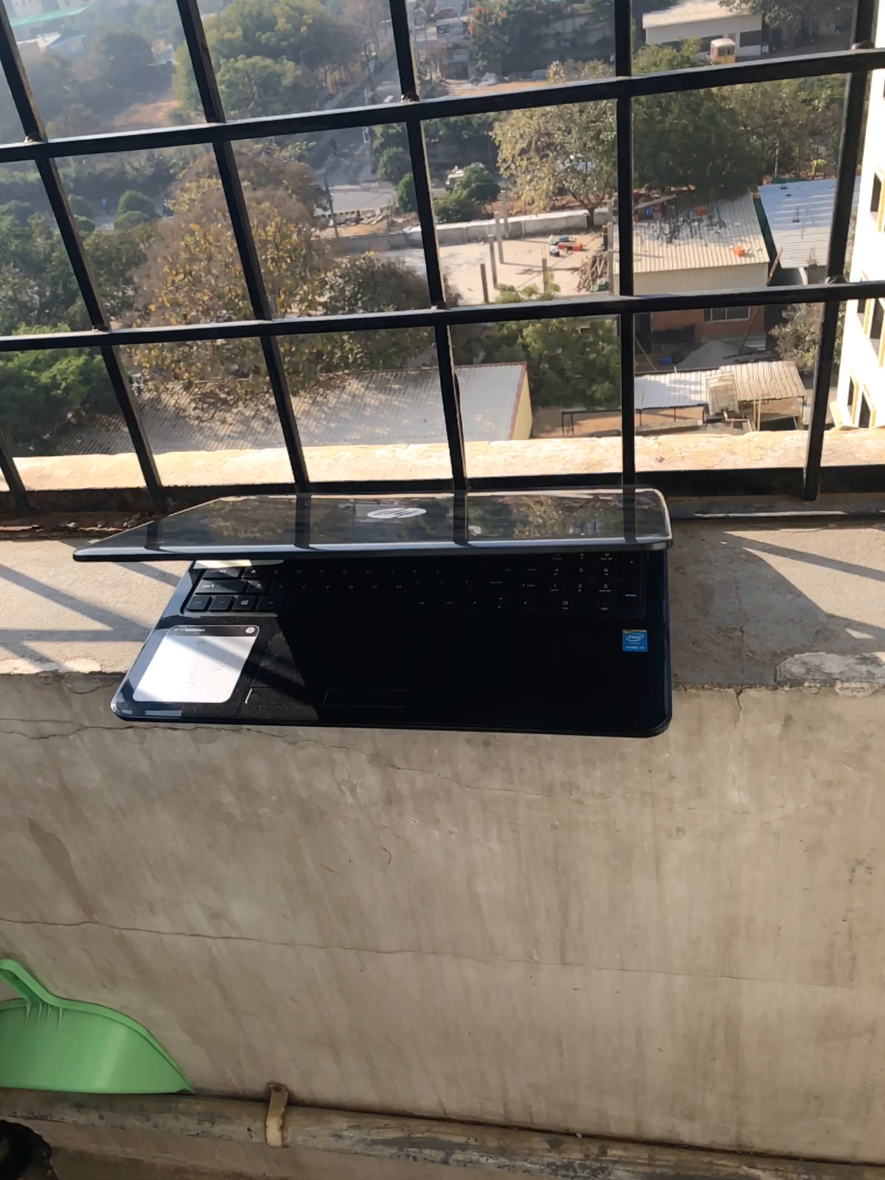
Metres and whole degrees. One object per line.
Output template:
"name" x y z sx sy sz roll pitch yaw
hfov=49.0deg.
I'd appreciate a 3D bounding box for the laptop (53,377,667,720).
"laptop" -0.034 -0.038 0.684 0.363 0.113 0.246 -1 36 11
